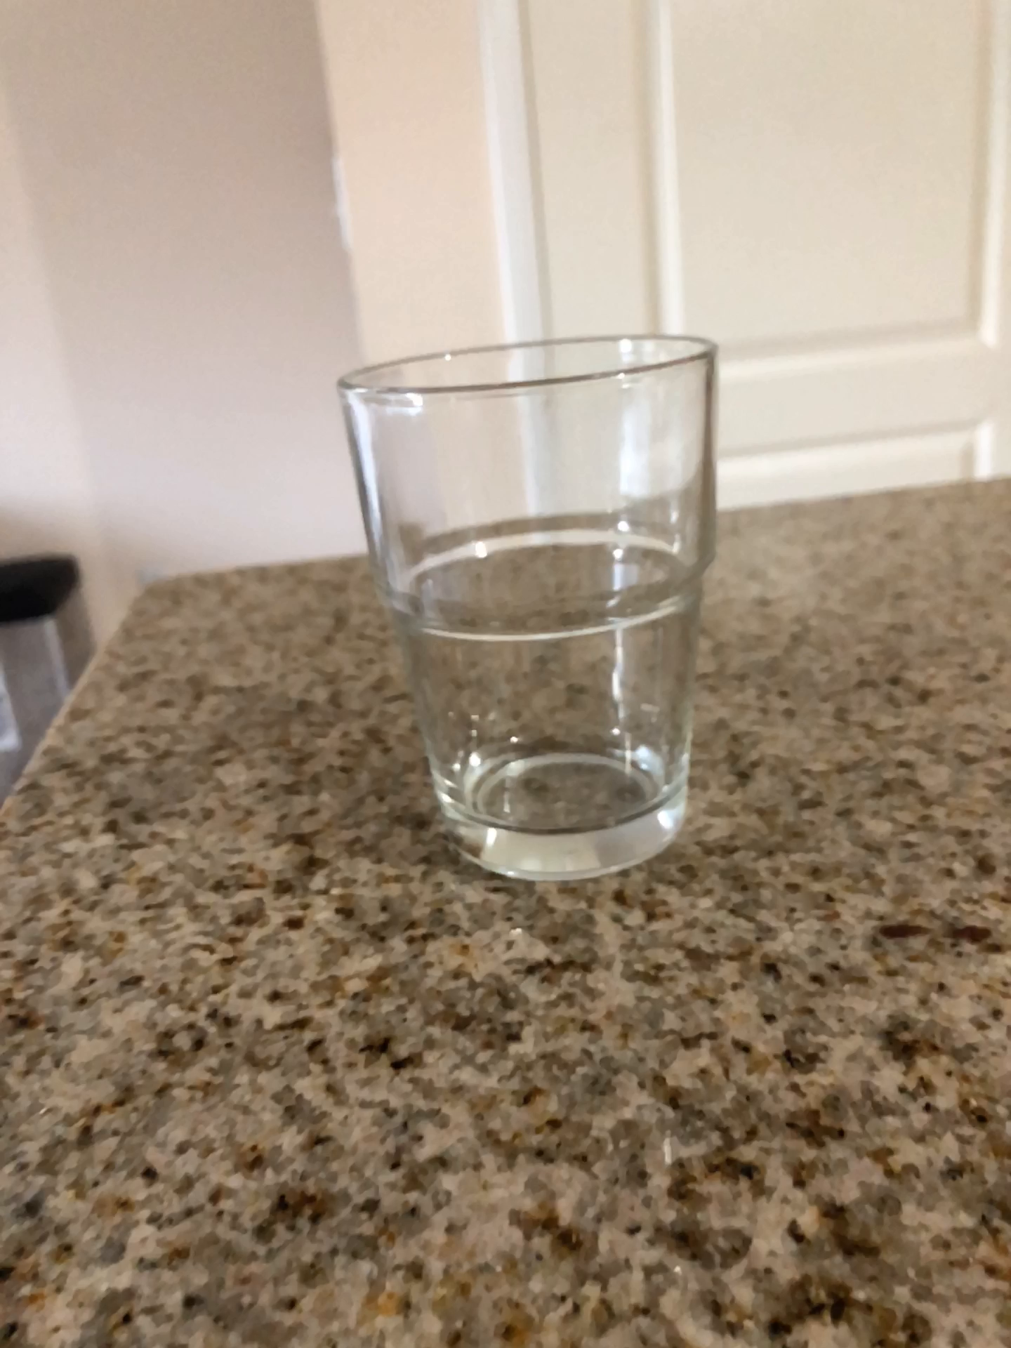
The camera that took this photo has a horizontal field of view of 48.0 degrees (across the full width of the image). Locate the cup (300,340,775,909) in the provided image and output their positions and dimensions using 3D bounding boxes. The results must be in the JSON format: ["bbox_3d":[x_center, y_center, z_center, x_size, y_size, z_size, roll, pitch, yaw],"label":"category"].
[{"bbox_3d":[0.012,-0.017,0.251,0.070,0.100,0.070,-5,20,2],"label":"cup"}]
